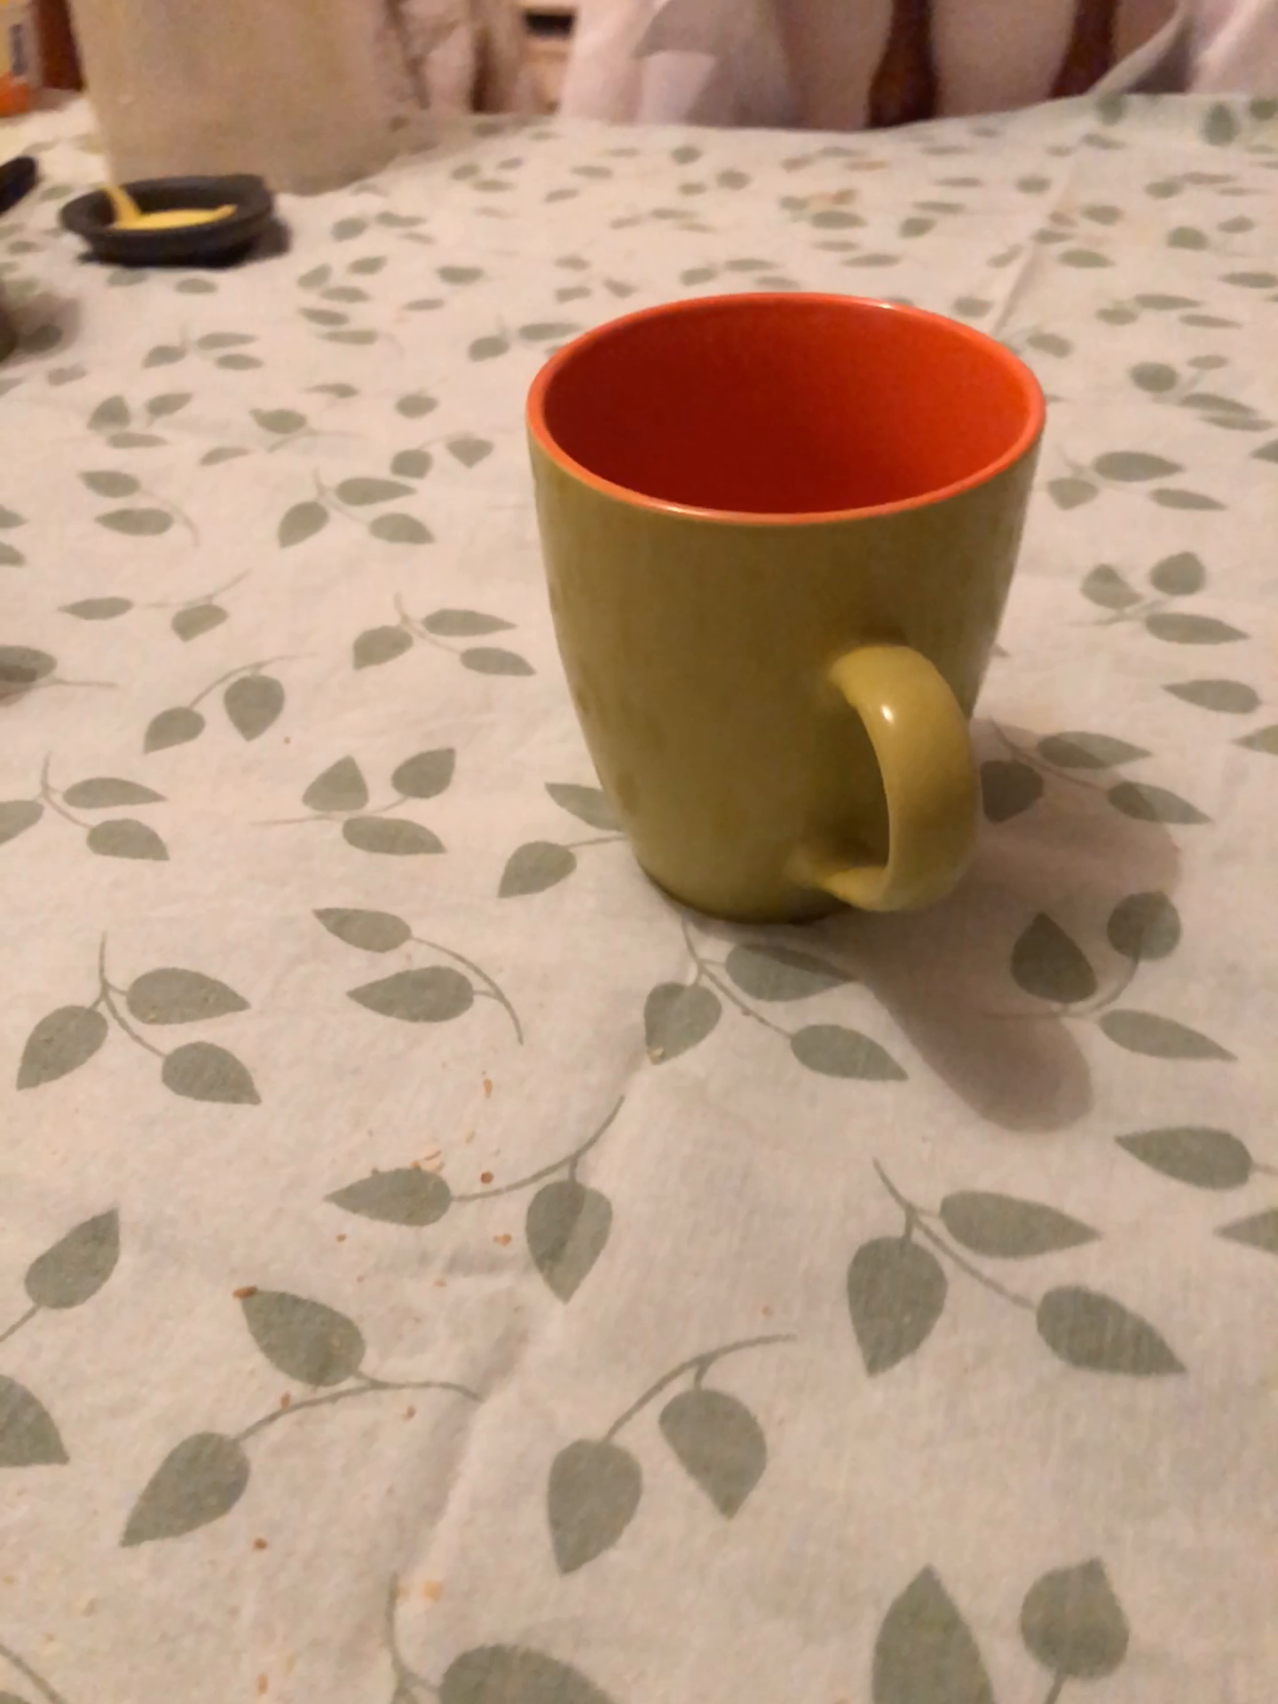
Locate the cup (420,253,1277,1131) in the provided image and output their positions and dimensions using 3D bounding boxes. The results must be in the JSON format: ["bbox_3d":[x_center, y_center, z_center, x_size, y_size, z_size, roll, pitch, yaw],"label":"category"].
[{"bbox_3d":[0.027,-0.037,0.260,0.090,0.089,0.121,-17,44,-16],"label":"cup"}]
